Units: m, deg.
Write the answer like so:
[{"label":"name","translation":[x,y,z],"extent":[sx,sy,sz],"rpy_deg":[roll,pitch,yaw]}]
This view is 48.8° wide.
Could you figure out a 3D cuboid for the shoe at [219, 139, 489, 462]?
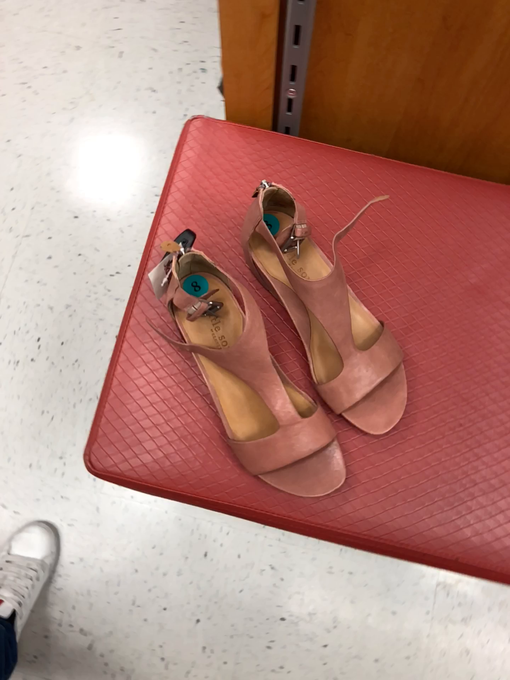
[{"label":"shoe","translation":[0.077,-0.029,0.526],"extent":[0.105,0.116,0.261],"rpy_deg":[-28,79,-7]}]

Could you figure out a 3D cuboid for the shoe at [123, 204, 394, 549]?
[{"label":"shoe","translation":[-0.003,0.034,0.514],"extent":[0.103,0.126,0.263],"rpy_deg":[-28,79,-7]}]
